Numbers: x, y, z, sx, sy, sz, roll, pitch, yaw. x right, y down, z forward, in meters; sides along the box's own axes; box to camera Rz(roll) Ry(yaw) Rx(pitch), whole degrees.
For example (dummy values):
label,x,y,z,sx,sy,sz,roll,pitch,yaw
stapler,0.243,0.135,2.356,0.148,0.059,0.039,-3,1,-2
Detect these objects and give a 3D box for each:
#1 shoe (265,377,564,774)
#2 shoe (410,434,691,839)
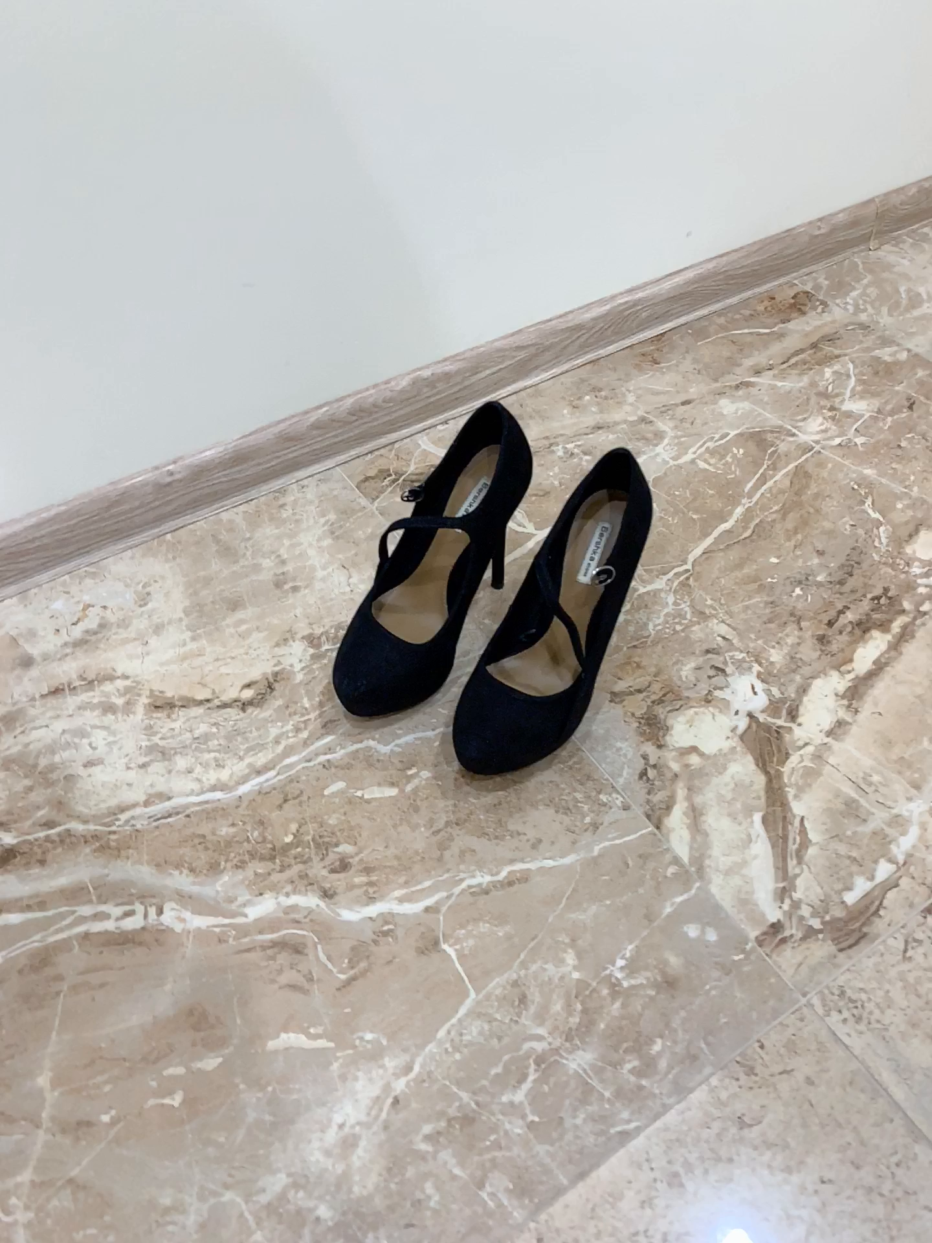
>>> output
label,x,y,z,sx,sy,sz,roll,pitch,yaw
shoe,-0.027,-0.035,0.673,0.089,0.169,0.211,25,53,20
shoe,0.058,0.007,0.639,0.080,0.159,0.211,25,53,20
